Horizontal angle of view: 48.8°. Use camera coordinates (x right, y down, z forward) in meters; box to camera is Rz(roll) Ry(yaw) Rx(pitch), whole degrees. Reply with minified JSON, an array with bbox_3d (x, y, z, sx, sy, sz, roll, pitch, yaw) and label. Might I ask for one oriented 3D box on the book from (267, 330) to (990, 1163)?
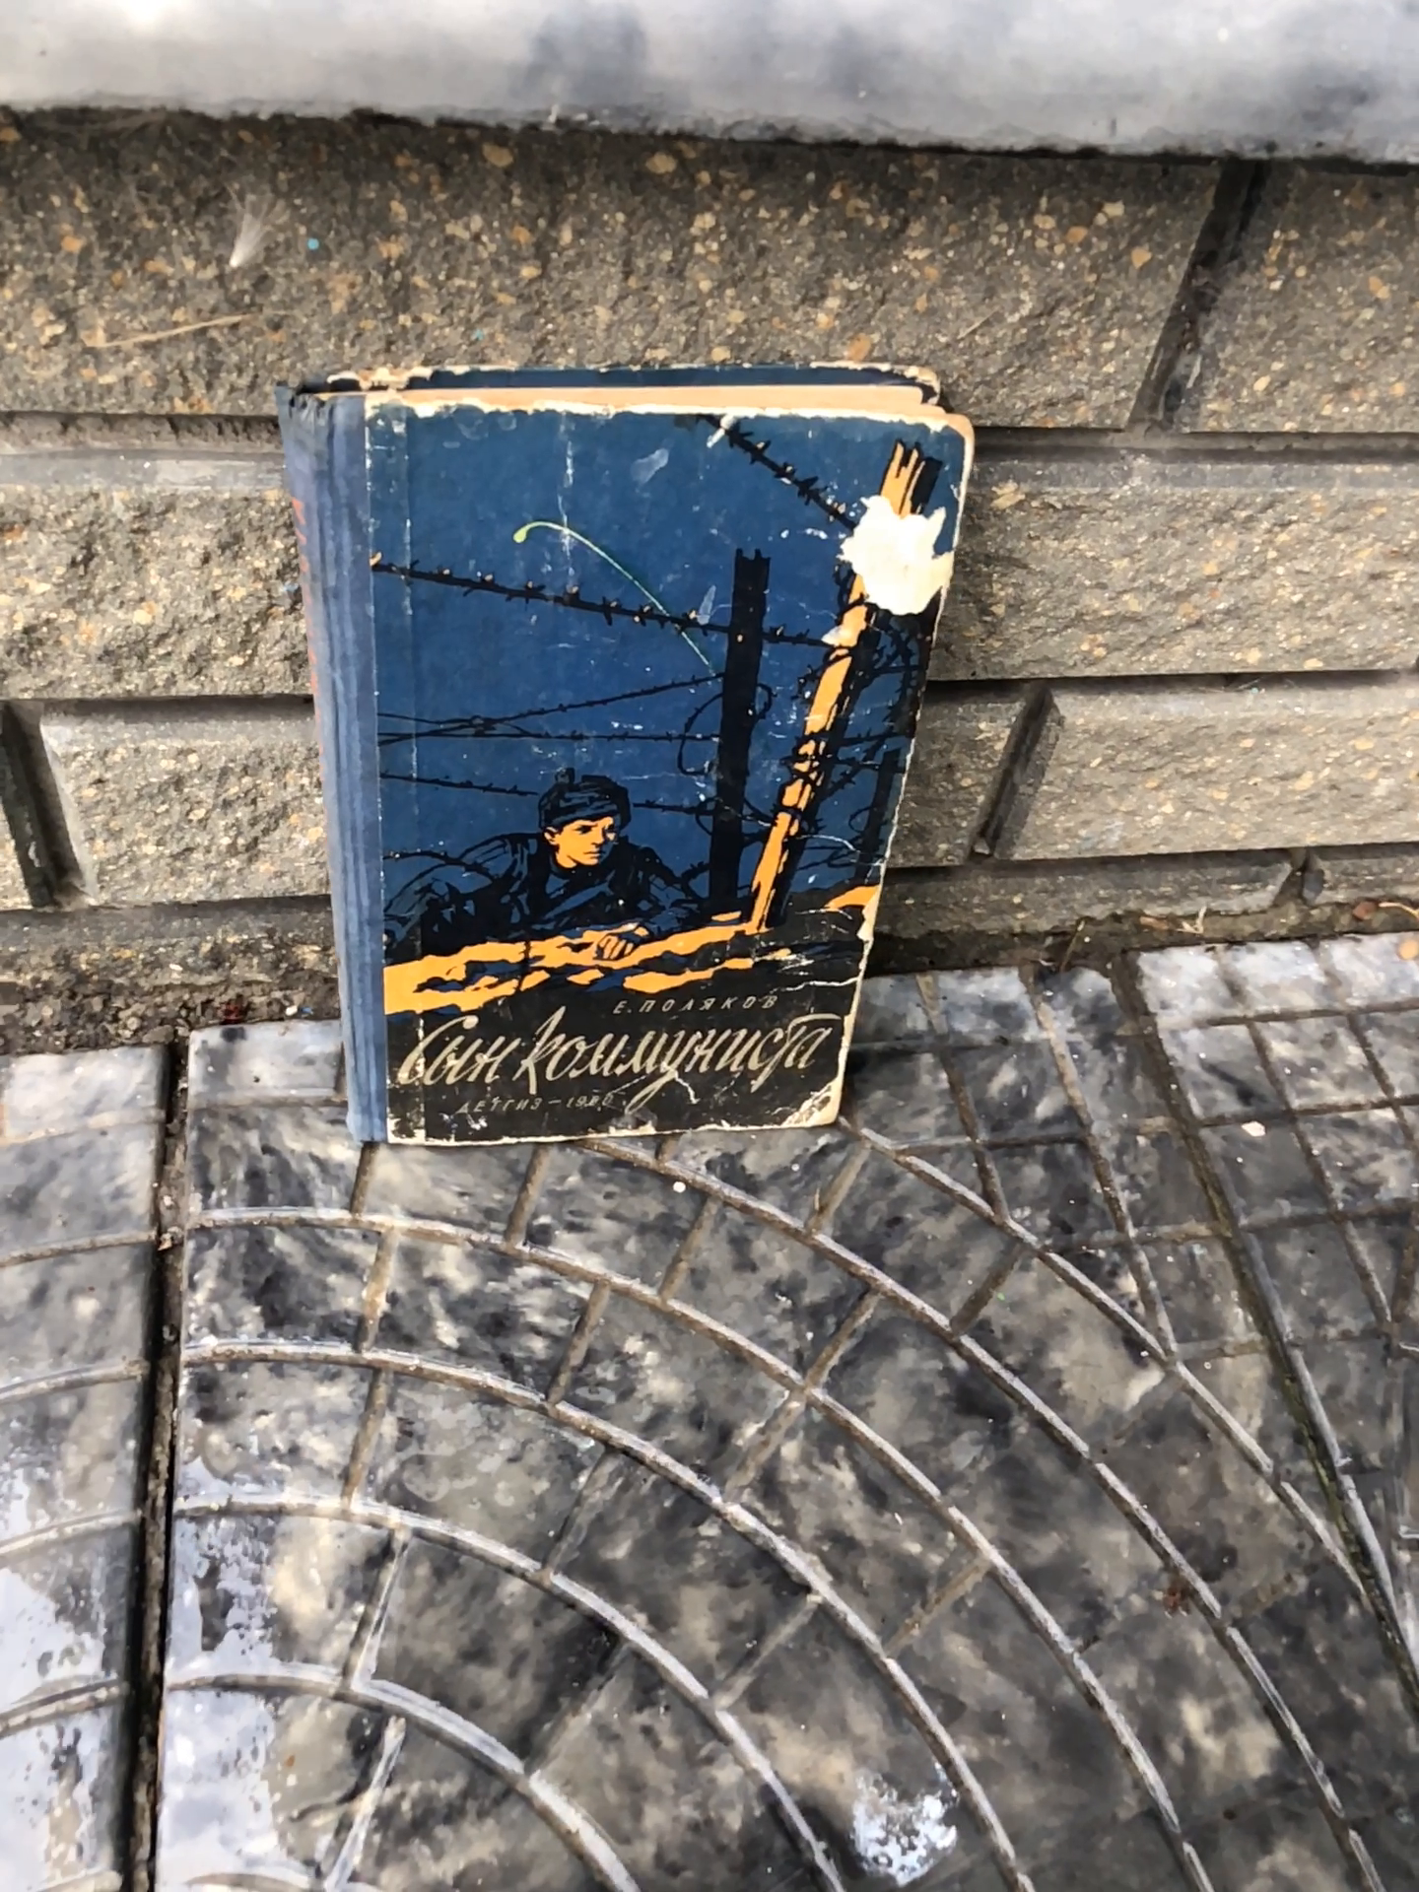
[{"bbox_3d":[-0.024,-0.037,0.377,0.140,0.199,0.040,-2,38,-10],"label":"book"}]
